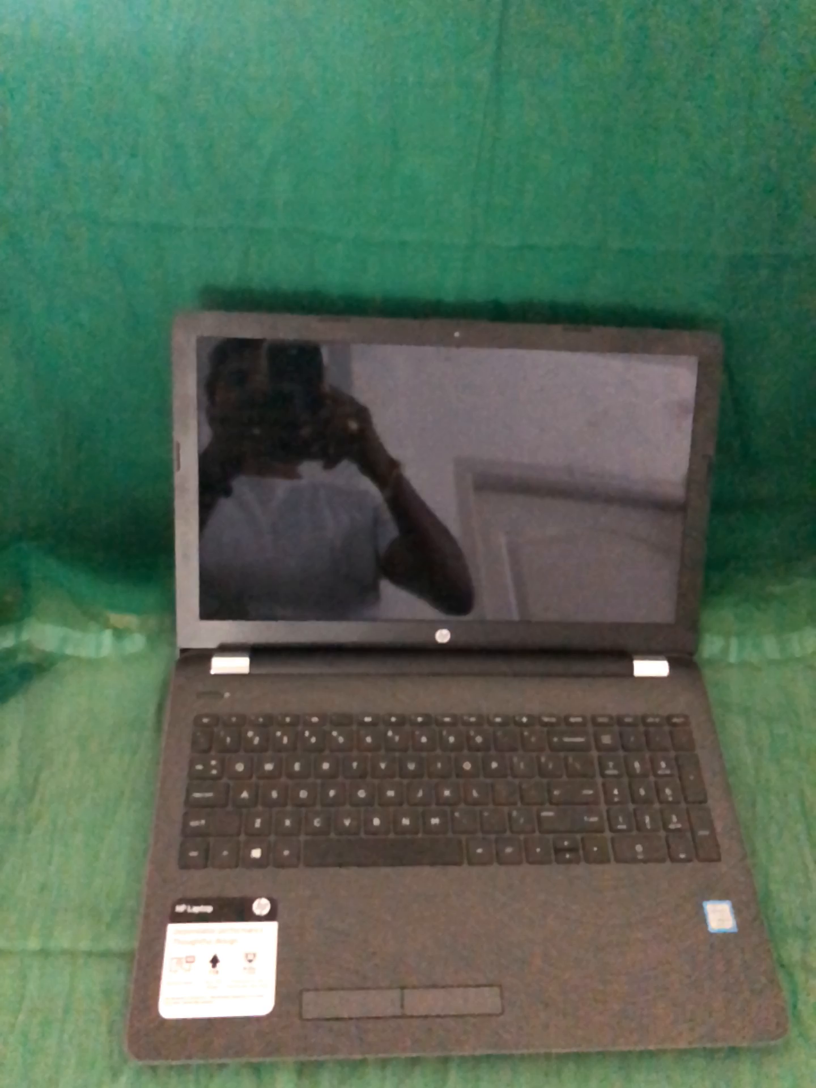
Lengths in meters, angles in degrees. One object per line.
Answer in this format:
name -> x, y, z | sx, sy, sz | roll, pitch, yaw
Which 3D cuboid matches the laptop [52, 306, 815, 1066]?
laptop -> 0.036, 0.066, 0.566 | 0.378, 0.179, 0.416 | 1, 54, -4
